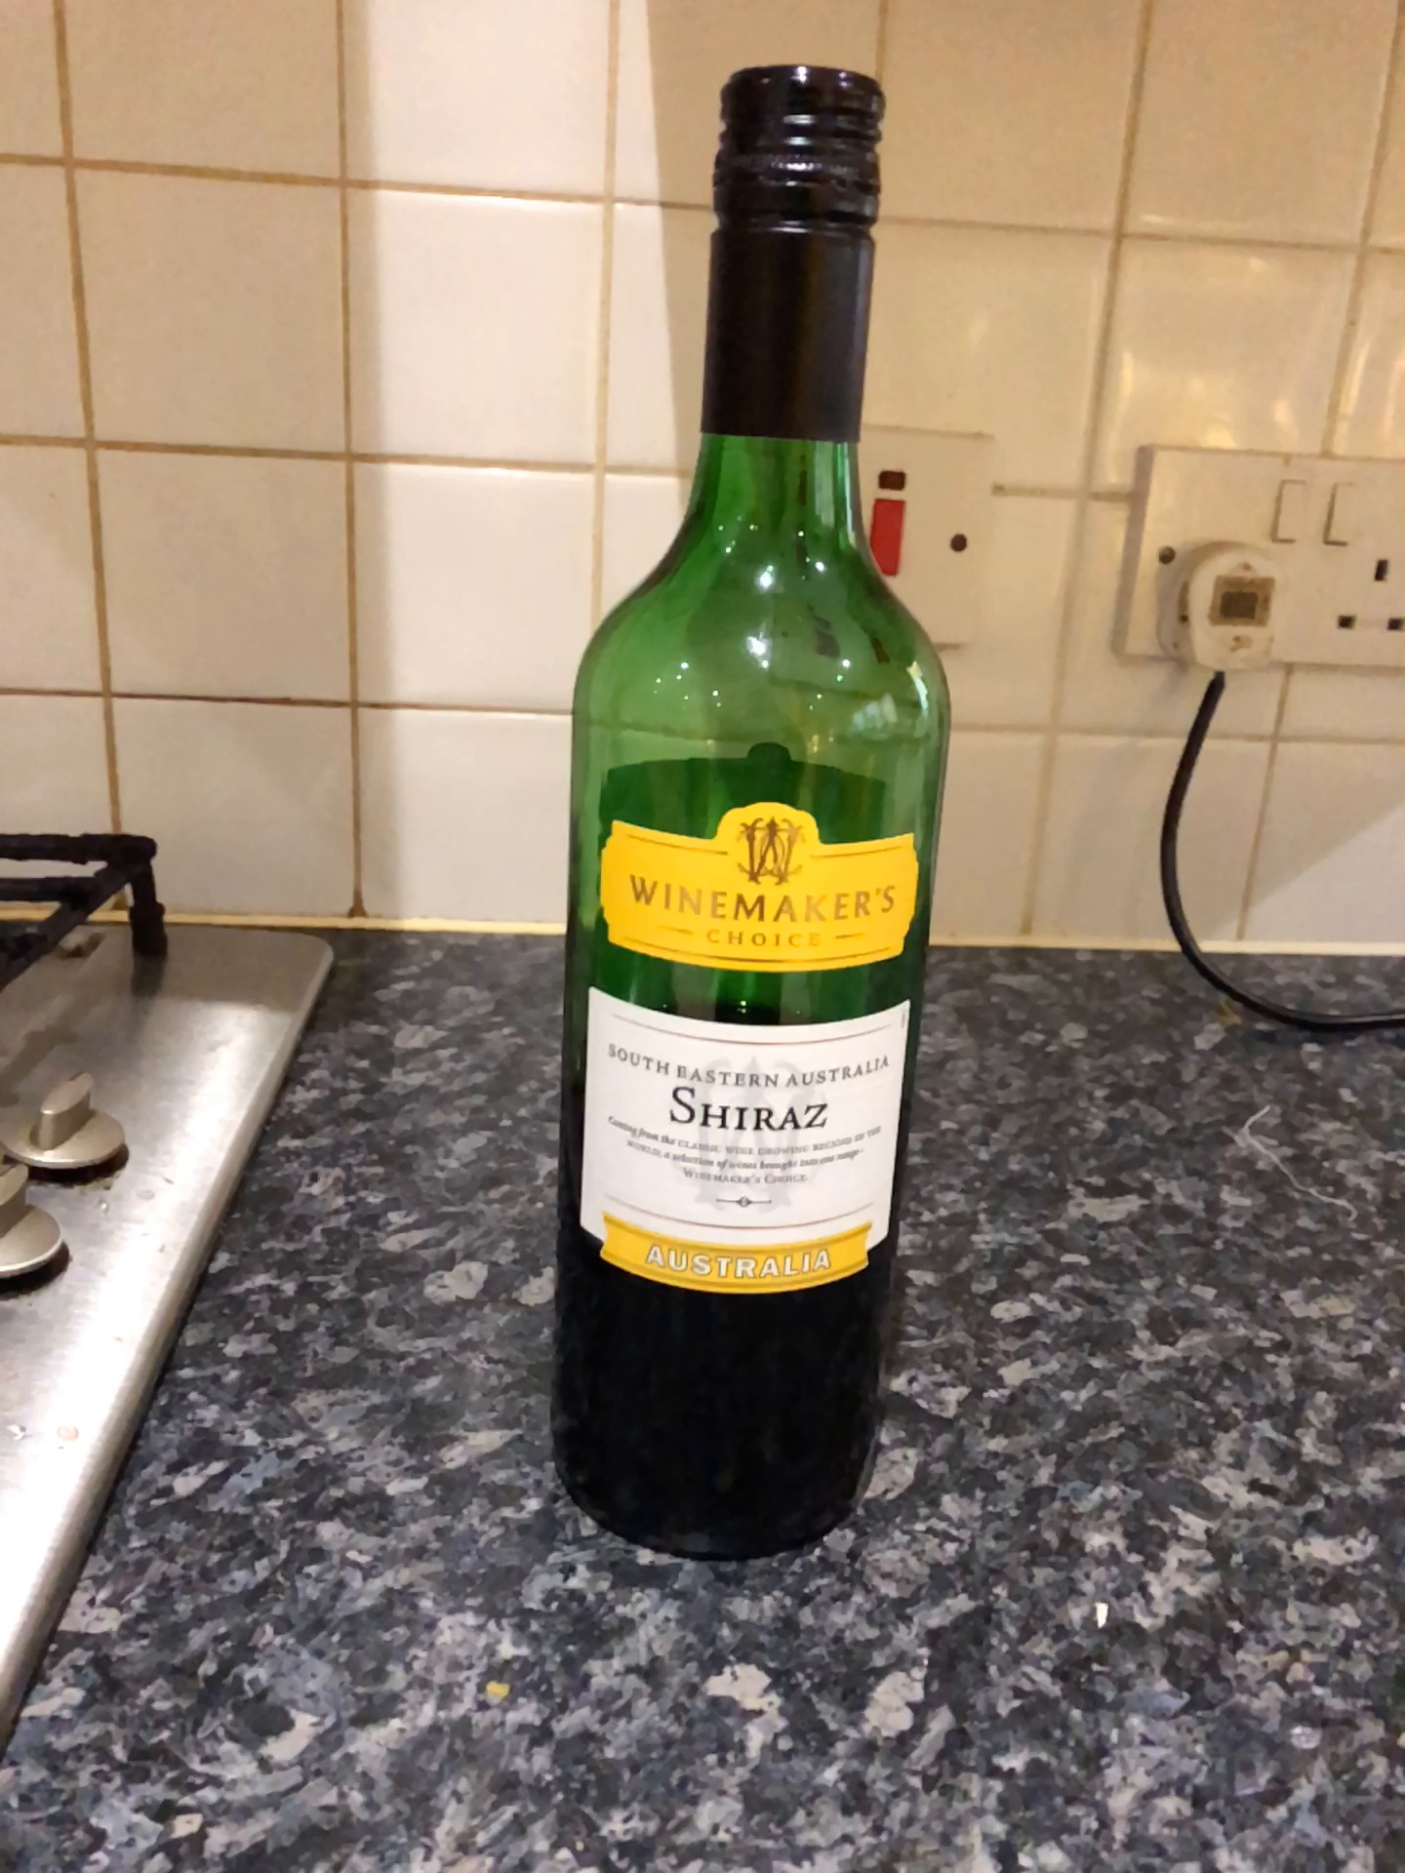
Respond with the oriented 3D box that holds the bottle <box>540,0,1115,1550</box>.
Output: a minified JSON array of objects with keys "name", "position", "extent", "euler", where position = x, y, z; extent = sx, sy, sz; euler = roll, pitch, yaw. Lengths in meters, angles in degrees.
[{"name":"bottle","position":[0.012,-0.020,0.311],"extent":[0.080,0.278,0.080],"euler":[3,19,-1]}]
